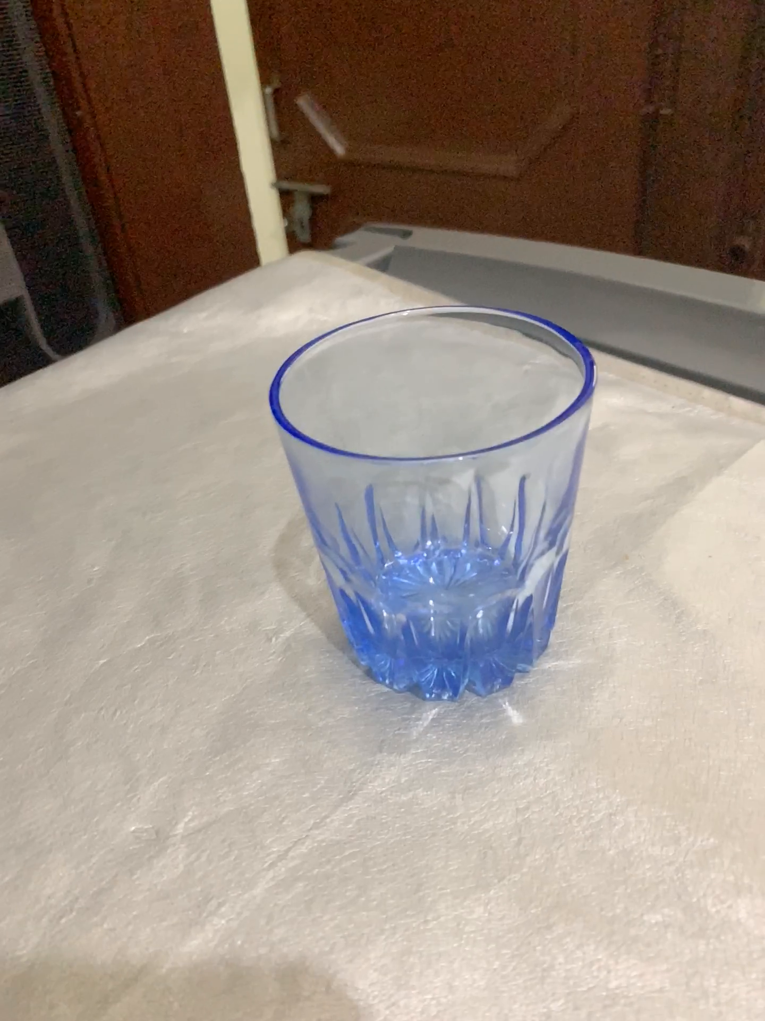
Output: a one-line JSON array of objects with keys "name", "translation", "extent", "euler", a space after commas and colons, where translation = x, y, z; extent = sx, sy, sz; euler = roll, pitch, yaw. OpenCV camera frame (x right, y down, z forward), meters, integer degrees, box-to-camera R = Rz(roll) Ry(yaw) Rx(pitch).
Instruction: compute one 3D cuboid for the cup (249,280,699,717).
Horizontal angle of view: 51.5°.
[{"name": "cup", "translation": [0.018, -0.008, 0.215], "extent": [0.090, 0.070, 0.090], "euler": [-4, 35, 3]}]
